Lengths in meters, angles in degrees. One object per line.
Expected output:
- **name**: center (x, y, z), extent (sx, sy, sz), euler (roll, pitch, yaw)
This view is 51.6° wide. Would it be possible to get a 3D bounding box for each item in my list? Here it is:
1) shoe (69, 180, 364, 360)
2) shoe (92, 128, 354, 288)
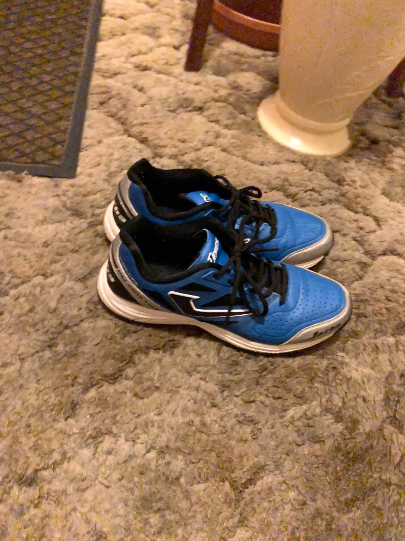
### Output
- **shoe**: center (0.013, 0.005, 0.467), extent (0.280, 0.119, 0.101), euler (11, 54, -2)
- **shoe**: center (0.019, -0.070, 0.502), extent (0.270, 0.119, 0.101), euler (7, 54, -5)
